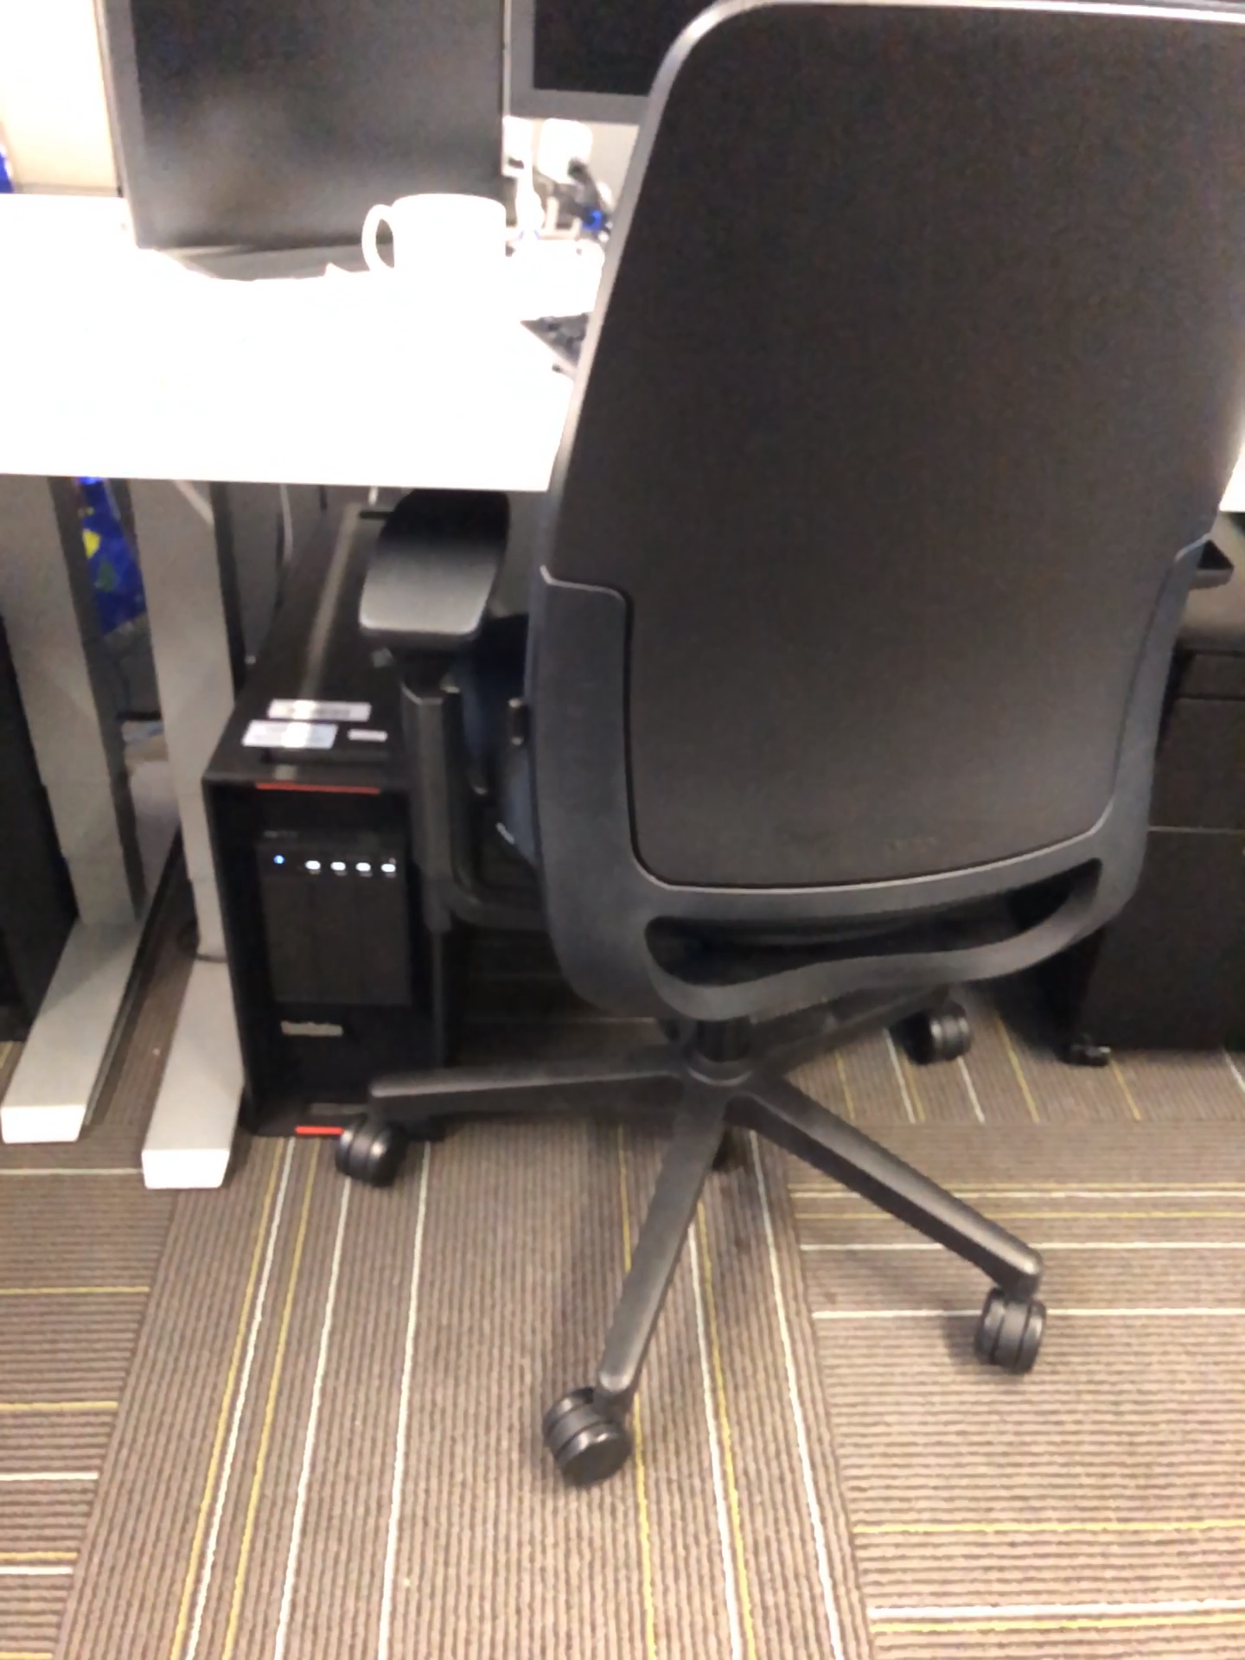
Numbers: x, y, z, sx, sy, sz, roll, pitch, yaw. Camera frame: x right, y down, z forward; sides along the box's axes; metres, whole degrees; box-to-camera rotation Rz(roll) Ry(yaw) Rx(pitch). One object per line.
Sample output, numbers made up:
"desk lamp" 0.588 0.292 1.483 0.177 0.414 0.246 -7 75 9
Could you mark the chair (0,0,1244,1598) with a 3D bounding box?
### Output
"chair" 0.094 -0.056 0.994 0.780 1.014 0.664 1 35 -4
